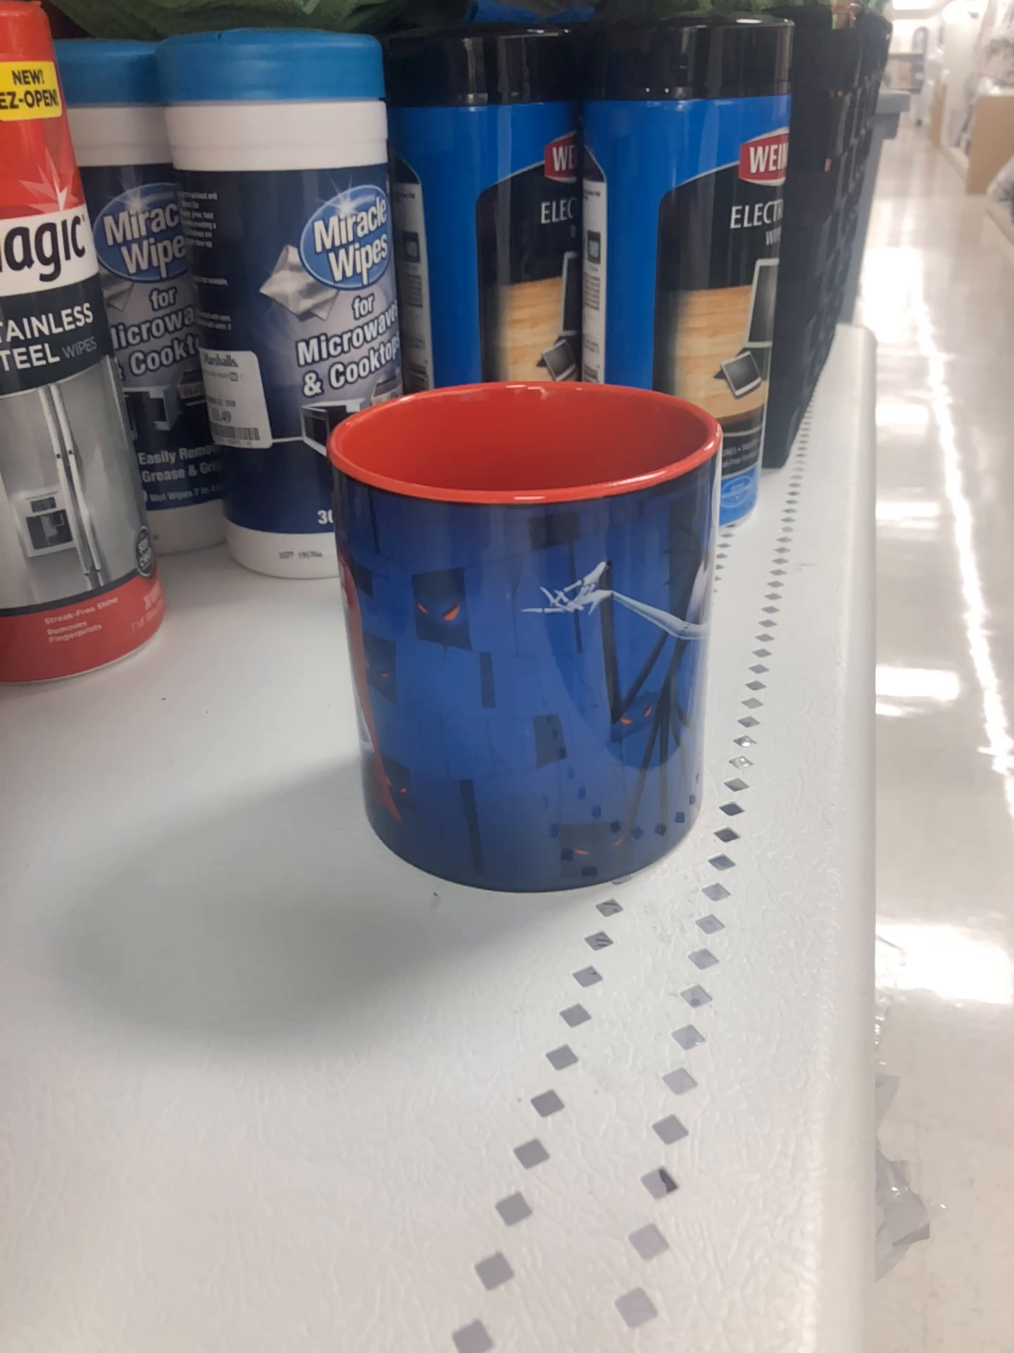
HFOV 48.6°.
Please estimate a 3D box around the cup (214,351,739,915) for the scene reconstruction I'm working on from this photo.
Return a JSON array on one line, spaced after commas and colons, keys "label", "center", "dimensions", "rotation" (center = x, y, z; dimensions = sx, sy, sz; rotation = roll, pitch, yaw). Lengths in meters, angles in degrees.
[{"label": "cup", "center": [0.006, -0.025, 0.324], "dimensions": [0.113, 0.103, 0.148], "rotation": [3, 28, 10]}]
